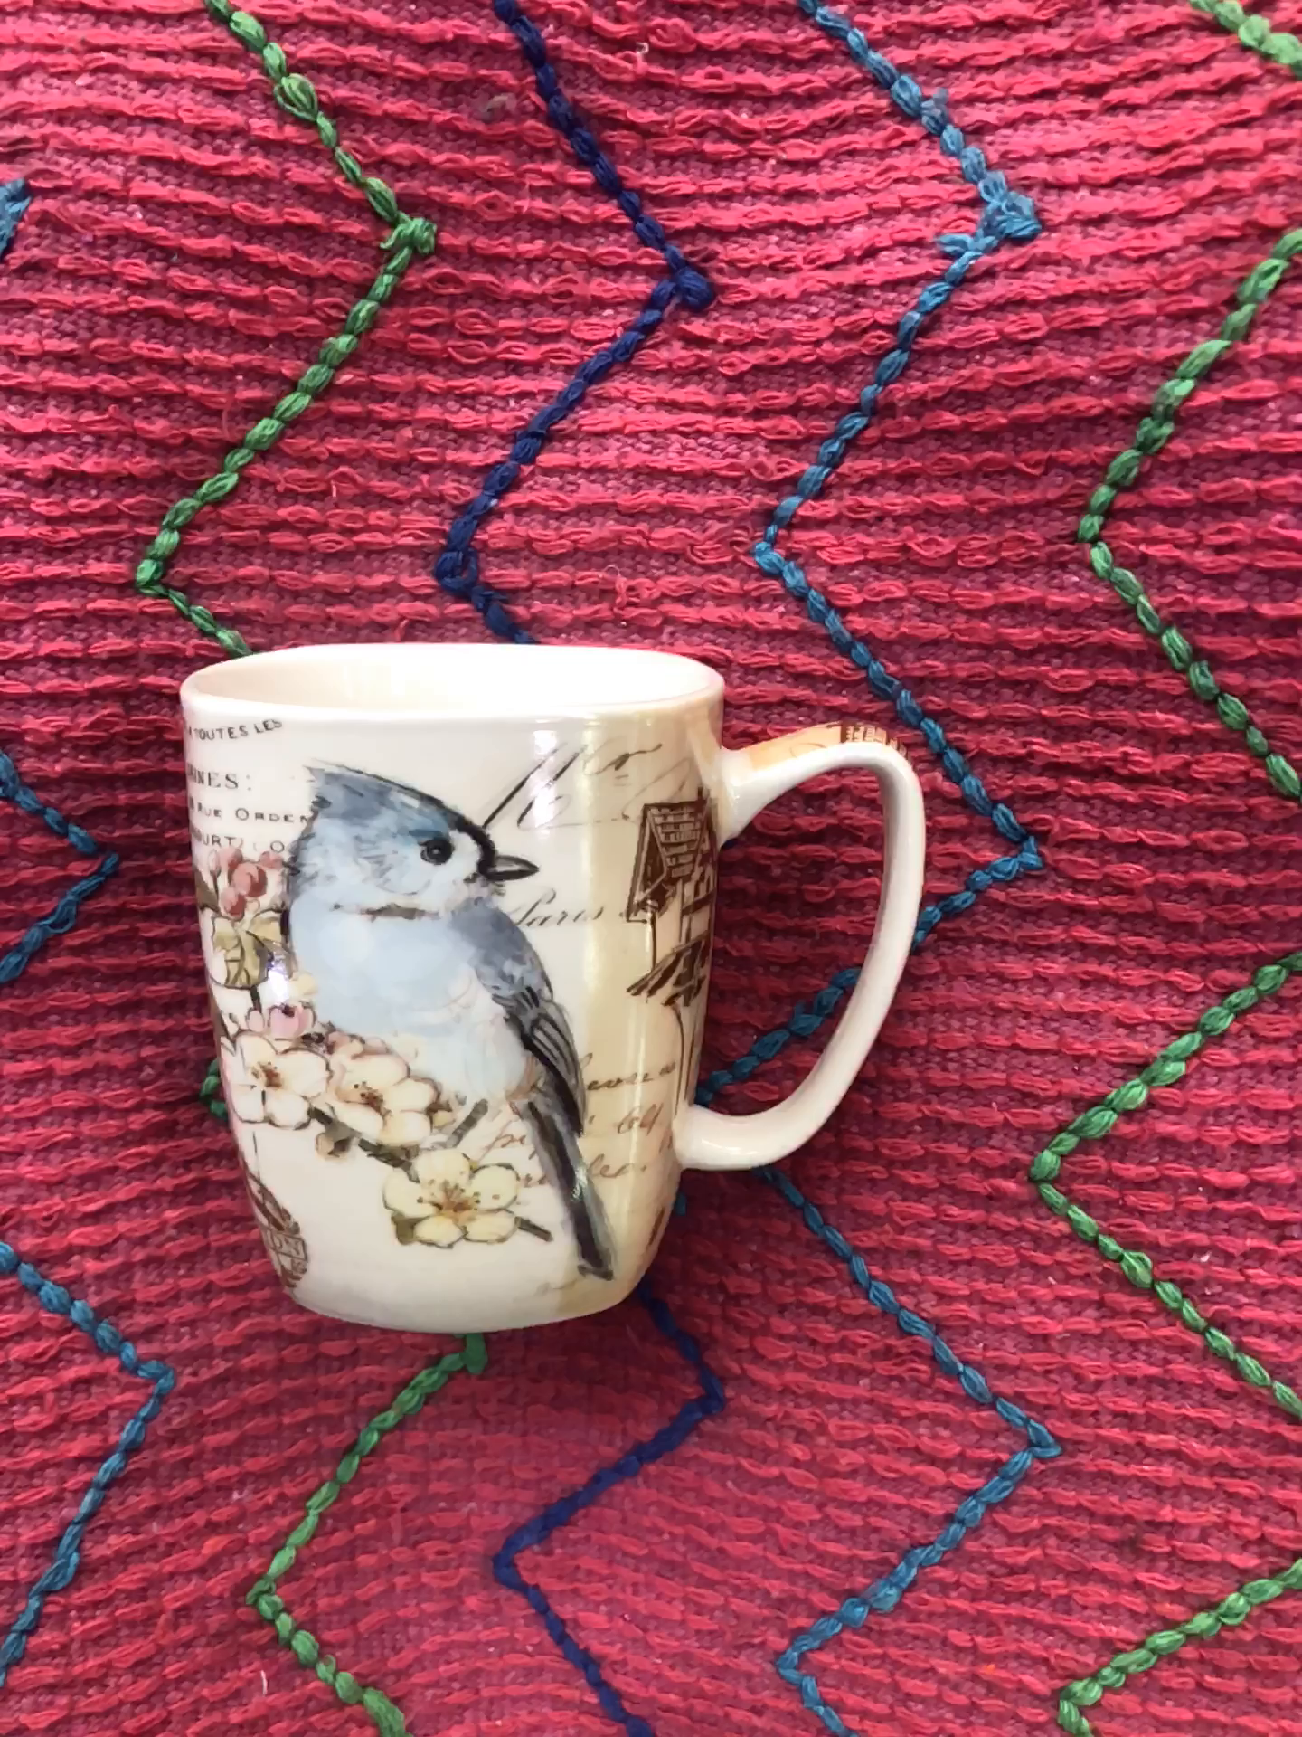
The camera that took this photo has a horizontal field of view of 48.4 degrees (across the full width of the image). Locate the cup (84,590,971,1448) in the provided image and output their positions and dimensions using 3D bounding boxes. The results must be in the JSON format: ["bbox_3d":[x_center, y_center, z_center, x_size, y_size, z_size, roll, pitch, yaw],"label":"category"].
[{"bbox_3d":[-0.016,0.016,0.227,0.110,0.070,0.110,-1,104,-6],"label":"cup"}]
